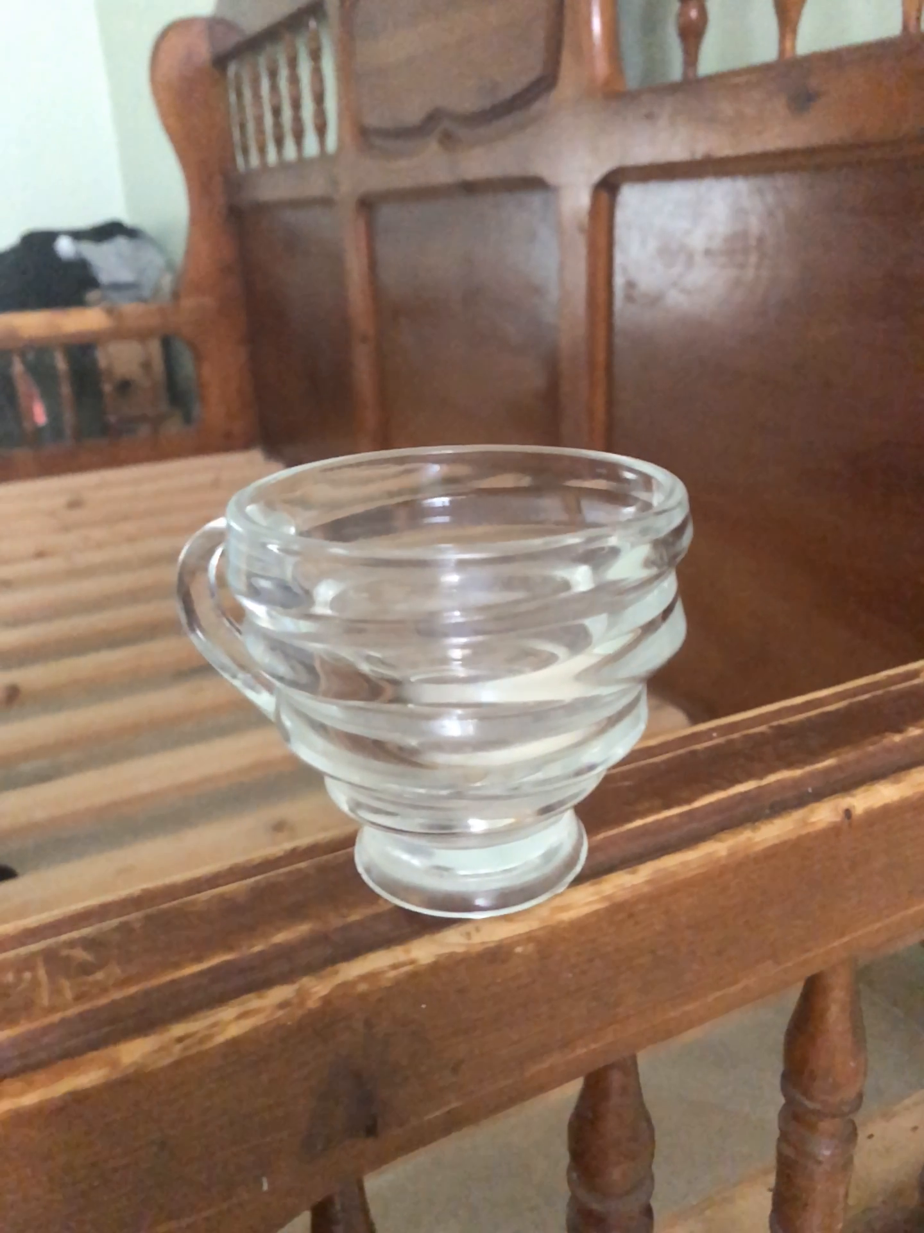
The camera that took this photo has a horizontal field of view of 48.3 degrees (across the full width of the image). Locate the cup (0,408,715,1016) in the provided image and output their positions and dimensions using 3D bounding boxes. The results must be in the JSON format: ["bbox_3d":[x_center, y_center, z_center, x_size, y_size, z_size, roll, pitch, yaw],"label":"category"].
[{"bbox_3d":[-0.020,0.004,0.191,0.106,0.065,0.076,13,26,37],"label":"cup"}]
